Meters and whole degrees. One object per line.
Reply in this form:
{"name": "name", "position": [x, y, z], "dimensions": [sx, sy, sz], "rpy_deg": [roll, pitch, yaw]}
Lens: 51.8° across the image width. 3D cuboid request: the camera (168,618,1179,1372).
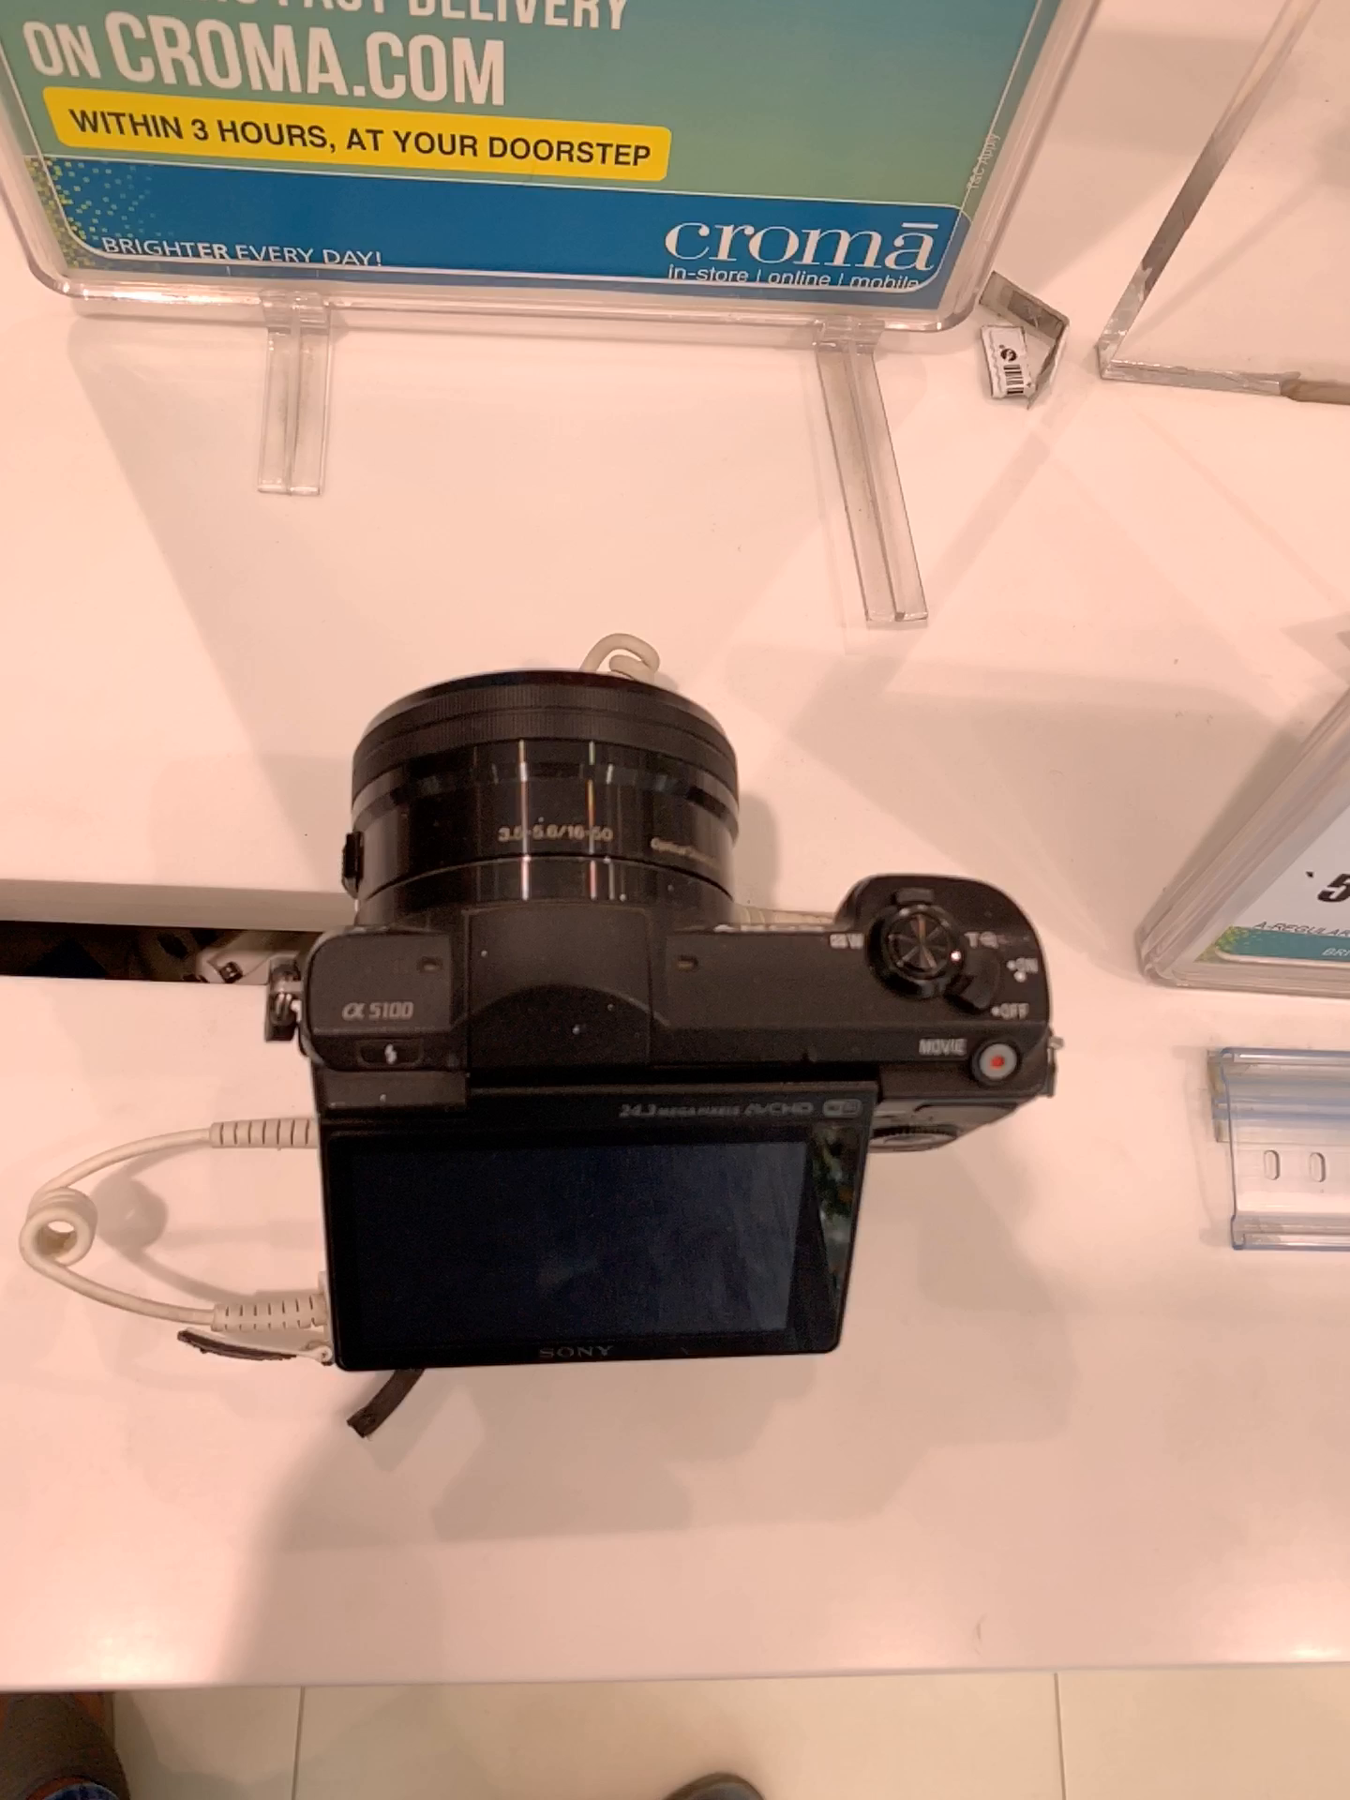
{"name": "camera", "position": [-0.004, 0.020, 0.203], "dimensions": [0.110, 0.082, 0.088], "rpy_deg": [0, 71, -7]}
